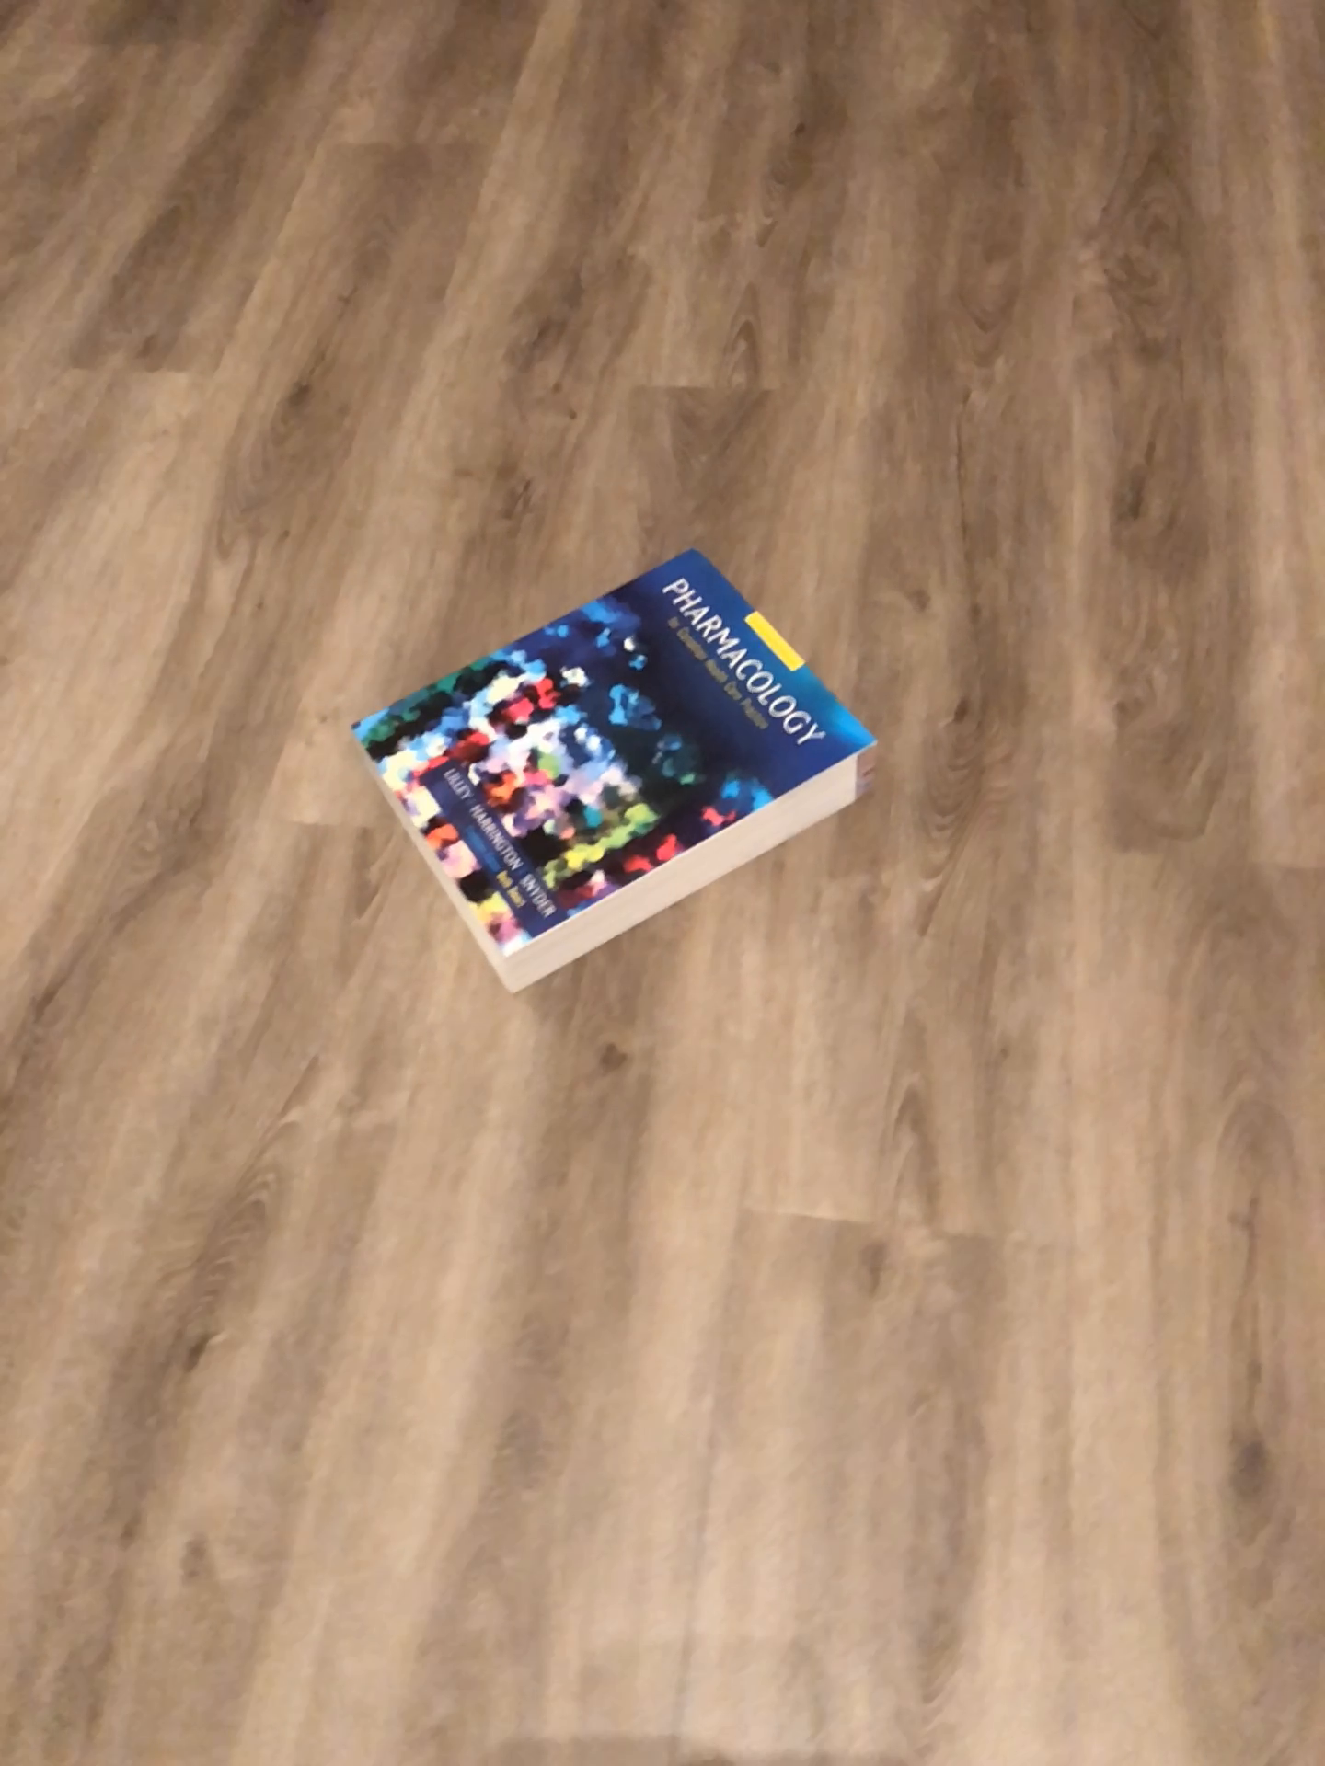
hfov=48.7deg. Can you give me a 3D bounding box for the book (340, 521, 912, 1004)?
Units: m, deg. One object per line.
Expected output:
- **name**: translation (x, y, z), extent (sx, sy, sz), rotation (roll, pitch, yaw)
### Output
- **book**: translation (-0.025, -0.088, 0.926), extent (0.277, 0.046, 0.229), rotation (-30, 59, -14)
